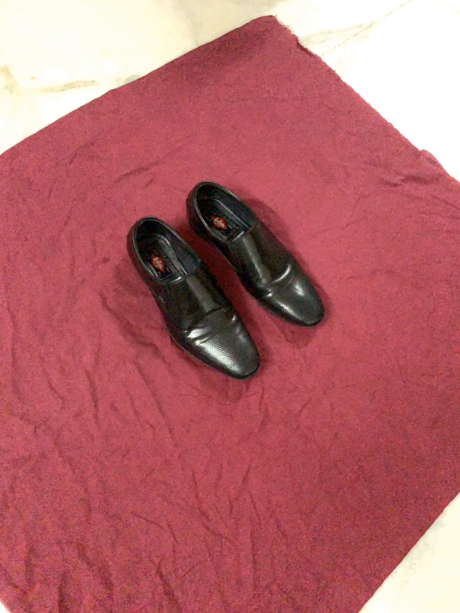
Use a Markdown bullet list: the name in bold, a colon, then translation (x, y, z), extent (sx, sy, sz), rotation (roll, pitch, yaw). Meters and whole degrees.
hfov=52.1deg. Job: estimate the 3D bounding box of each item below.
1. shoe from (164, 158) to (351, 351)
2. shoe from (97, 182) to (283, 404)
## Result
- **shoe**: translation (0.033, -0.081, 0.730), extent (0.100, 0.100, 0.291), rotation (-40, 76, -17)
- **shoe**: translation (-0.063, -0.021, 0.680), extent (0.100, 0.100, 0.301), rotation (-33, 74, -15)
